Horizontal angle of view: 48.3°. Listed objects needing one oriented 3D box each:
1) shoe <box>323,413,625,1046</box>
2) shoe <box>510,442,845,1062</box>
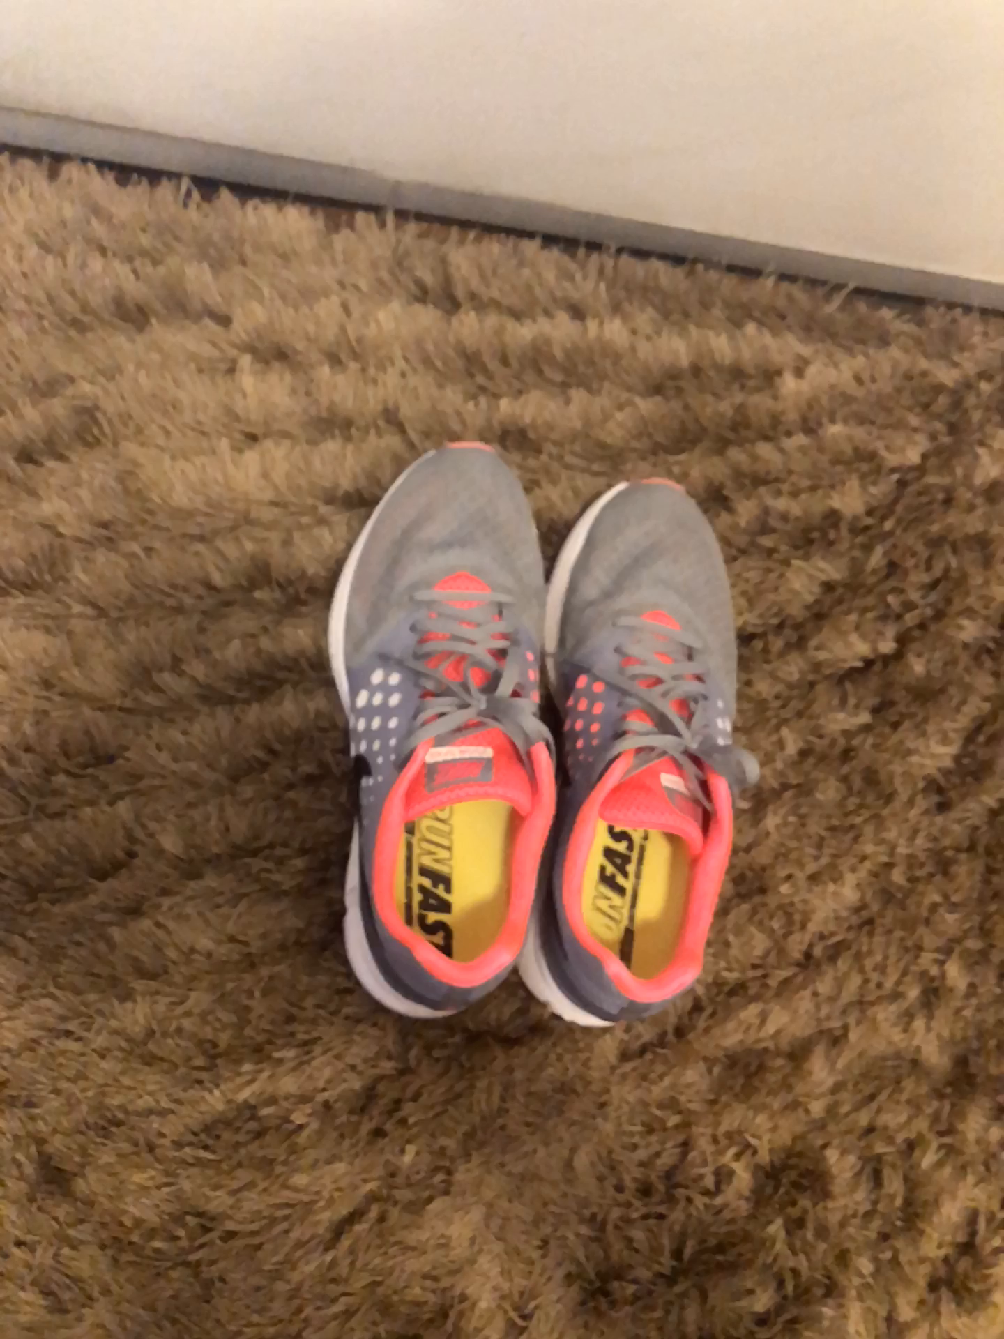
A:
[{"bbox_3d":[-0.021,0.032,0.541,0.114,0.121,0.270,2,76,-14],"label":"shoe"},{"bbox_3d":[0.086,0.045,0.558,0.119,0.119,0.270,8,75,-13],"label":"shoe"}]
